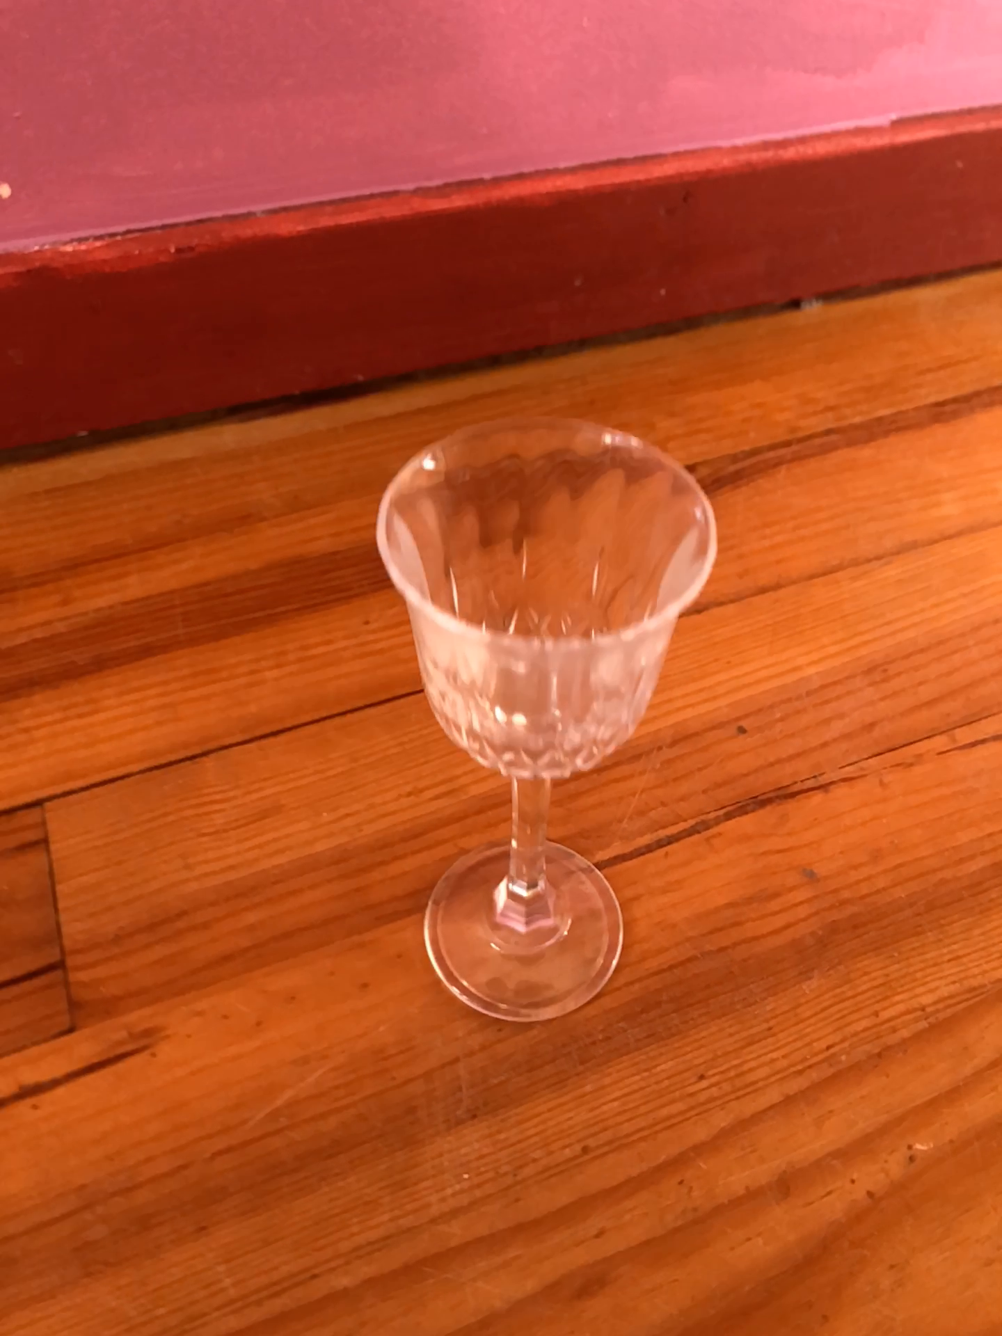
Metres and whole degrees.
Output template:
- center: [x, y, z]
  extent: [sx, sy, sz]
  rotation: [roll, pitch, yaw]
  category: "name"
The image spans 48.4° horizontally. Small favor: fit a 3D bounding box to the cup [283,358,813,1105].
- center: [0.007, 0.020, 0.222]
  extent: [0.058, 0.132, 0.061]
  rotation: [1, 48, -1]
  category: "cup"
